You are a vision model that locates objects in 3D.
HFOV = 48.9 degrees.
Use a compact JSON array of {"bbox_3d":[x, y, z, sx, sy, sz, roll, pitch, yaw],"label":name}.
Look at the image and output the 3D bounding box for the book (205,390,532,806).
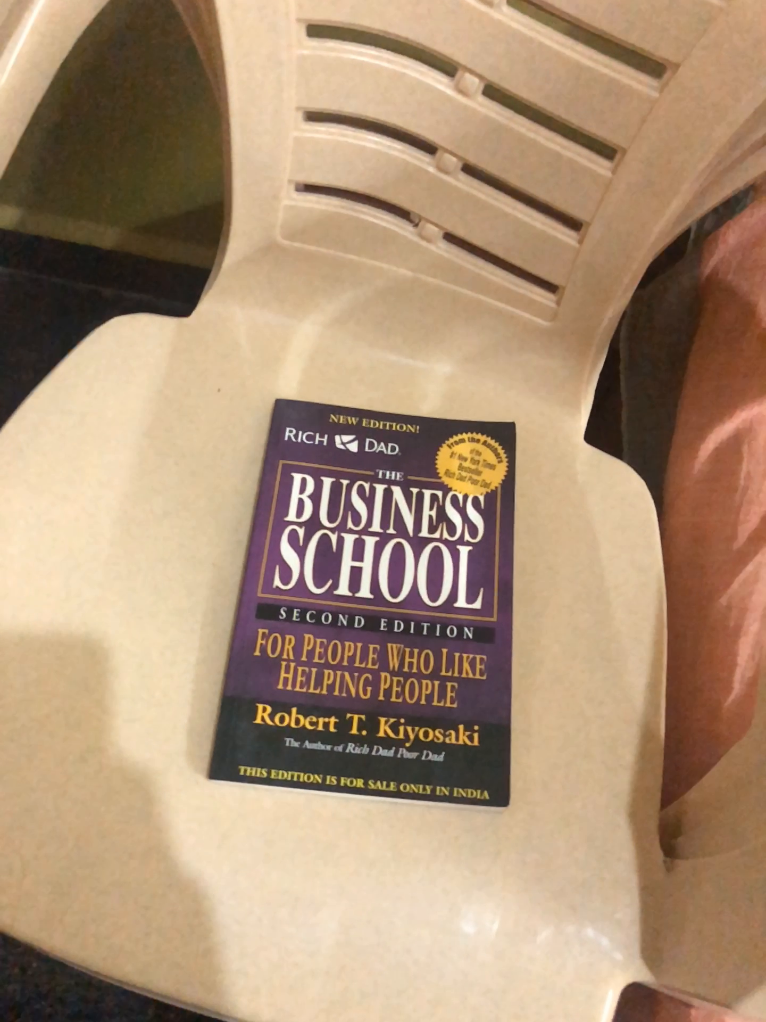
[{"bbox_3d":[-0.001,0.045,0.499,0.170,0.020,0.230,6,71,-2],"label":"book"}]
